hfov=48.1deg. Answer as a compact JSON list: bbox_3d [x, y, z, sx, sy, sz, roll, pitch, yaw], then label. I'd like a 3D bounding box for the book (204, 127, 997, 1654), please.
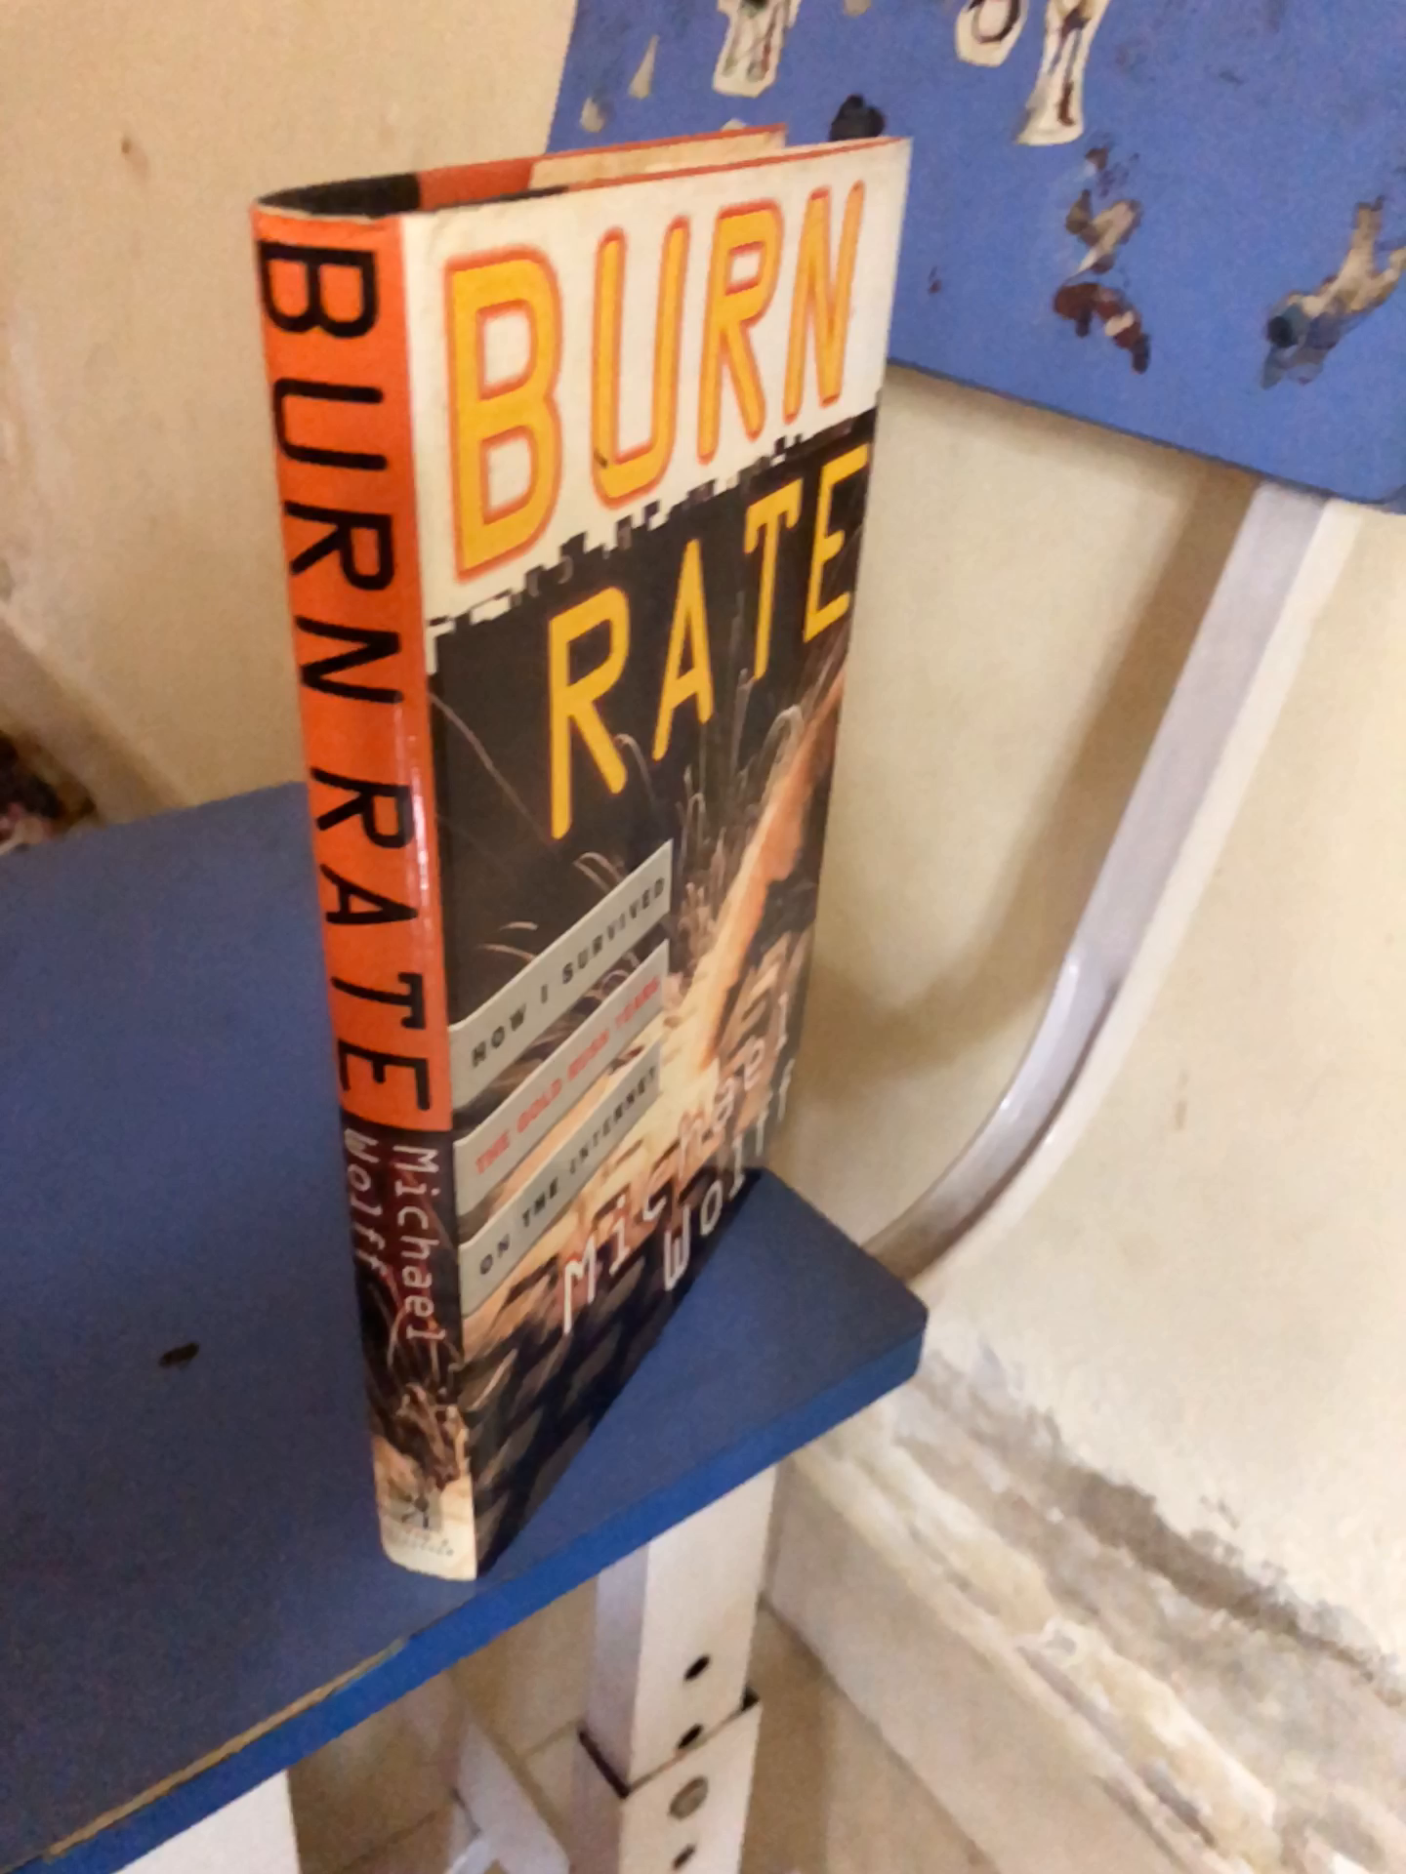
[{"bbox_3d":[-0.005,-0.023,0.312,0.040,0.239,0.201,15,31,19],"label":"book"}]
